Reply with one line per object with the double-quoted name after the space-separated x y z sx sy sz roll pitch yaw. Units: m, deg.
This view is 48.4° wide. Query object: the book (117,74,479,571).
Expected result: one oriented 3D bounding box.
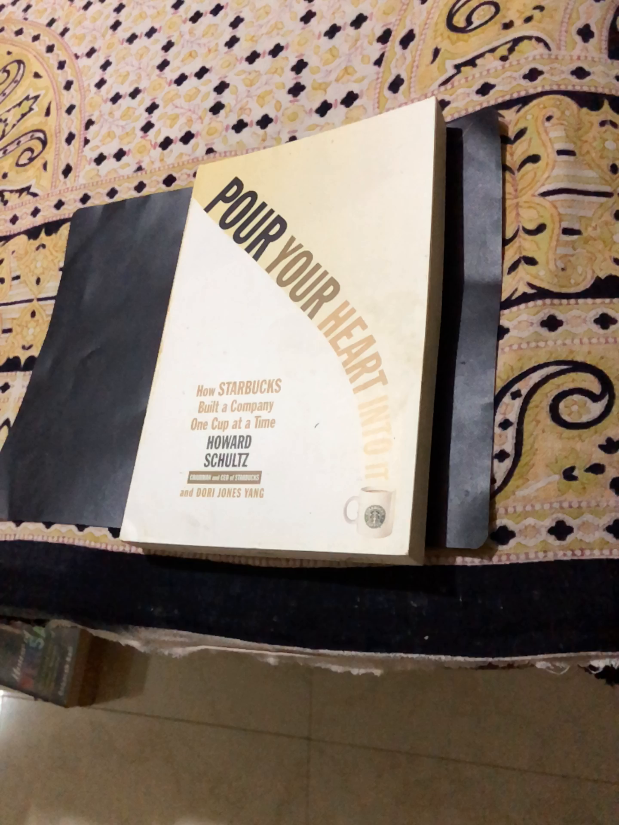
0.000 -0.046 0.366 0.160 0.050 0.240 -2 70 26 "book"
